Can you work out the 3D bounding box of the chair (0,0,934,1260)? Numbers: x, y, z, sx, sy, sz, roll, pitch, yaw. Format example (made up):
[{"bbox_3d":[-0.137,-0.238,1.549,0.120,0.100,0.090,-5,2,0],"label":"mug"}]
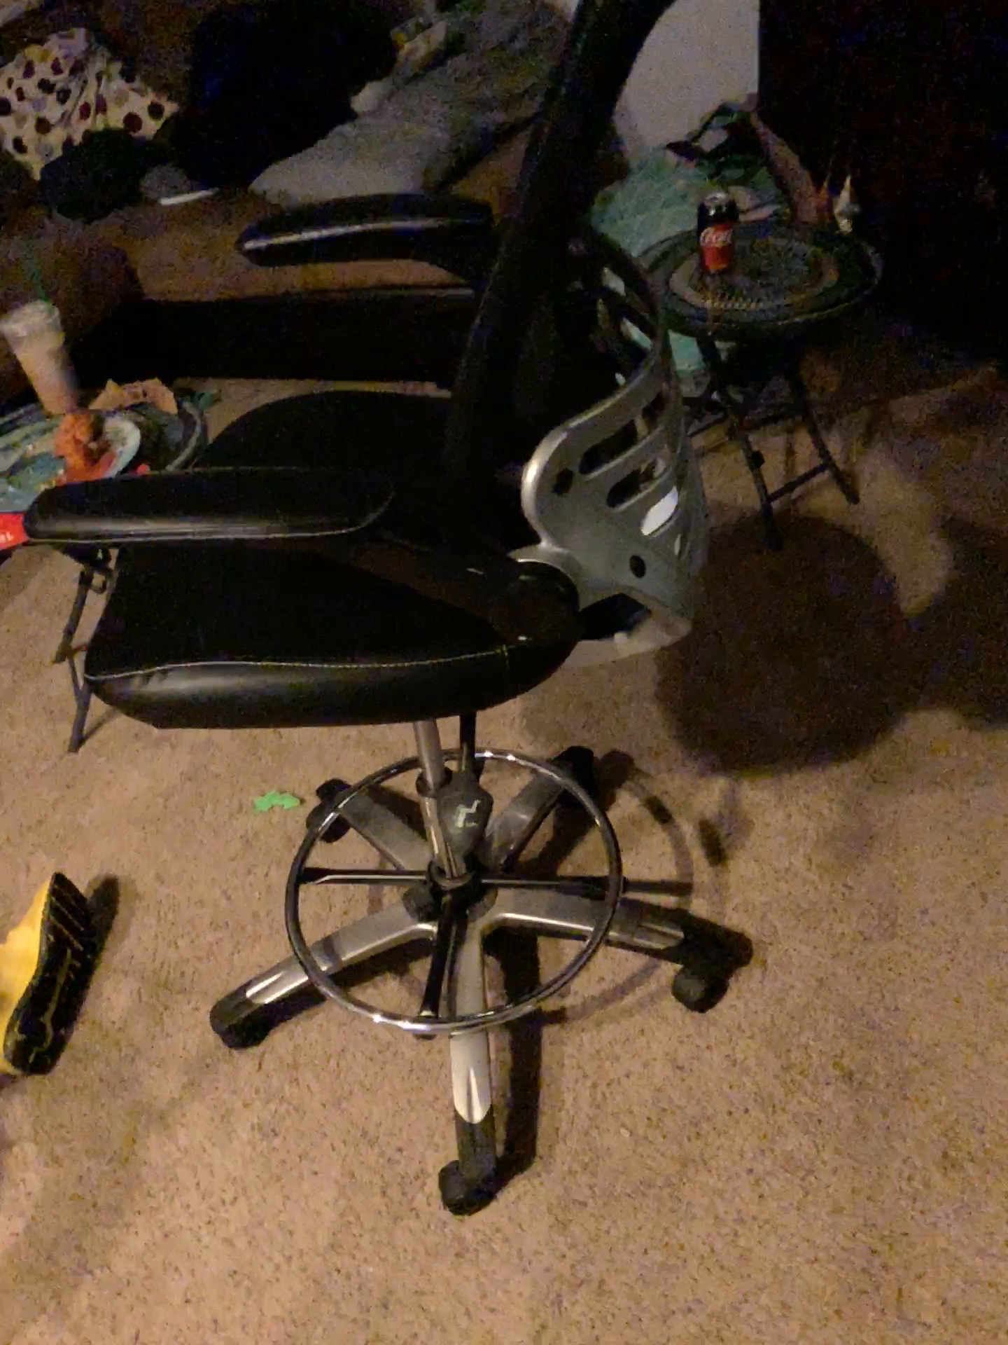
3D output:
[{"bbox_3d":[-0.092,-0.087,1.084,0.700,1.120,0.780,0,42,9],"label":"chair"}]
